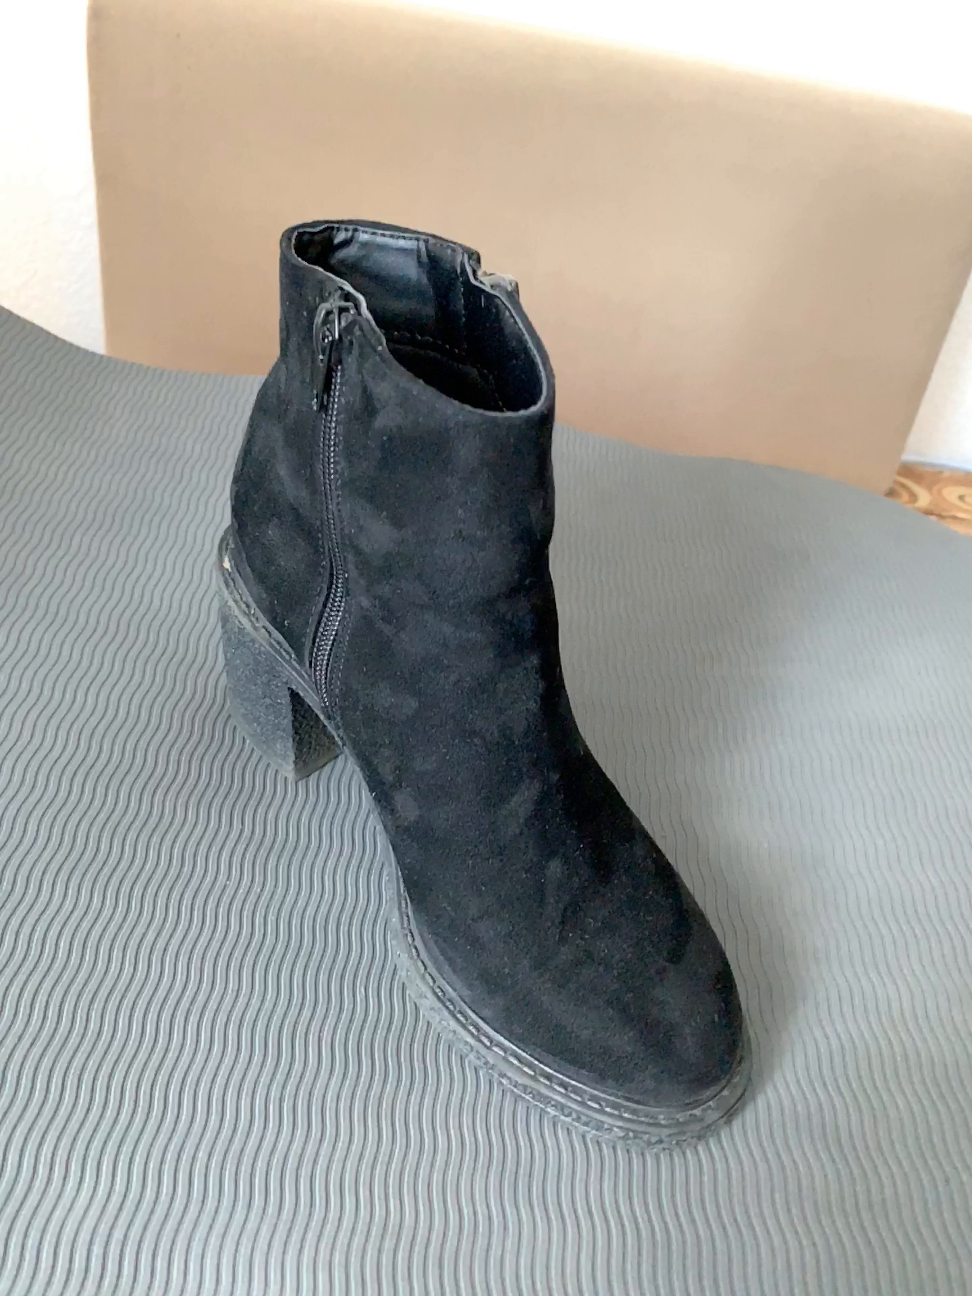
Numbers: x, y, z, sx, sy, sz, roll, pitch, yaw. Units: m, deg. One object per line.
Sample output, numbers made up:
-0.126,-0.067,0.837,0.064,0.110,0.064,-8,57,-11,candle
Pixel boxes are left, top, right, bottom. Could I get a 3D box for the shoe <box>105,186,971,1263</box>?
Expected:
0.001,0.001,0.287,0.098,0.179,0.241,-23,49,-36,shoe
